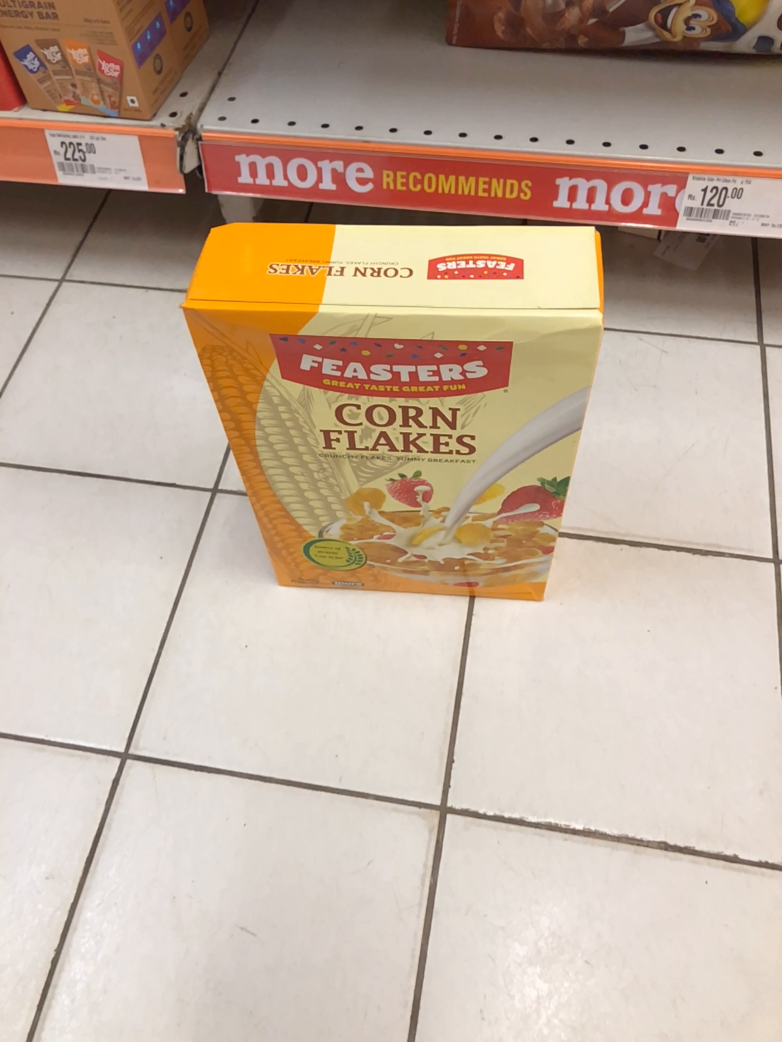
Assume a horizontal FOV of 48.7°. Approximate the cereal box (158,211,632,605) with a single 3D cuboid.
[{"bbox_3d":[0.009,-0.043,0.465,0.190,0.249,0.060,2,58,6],"label":"cereal box"}]
